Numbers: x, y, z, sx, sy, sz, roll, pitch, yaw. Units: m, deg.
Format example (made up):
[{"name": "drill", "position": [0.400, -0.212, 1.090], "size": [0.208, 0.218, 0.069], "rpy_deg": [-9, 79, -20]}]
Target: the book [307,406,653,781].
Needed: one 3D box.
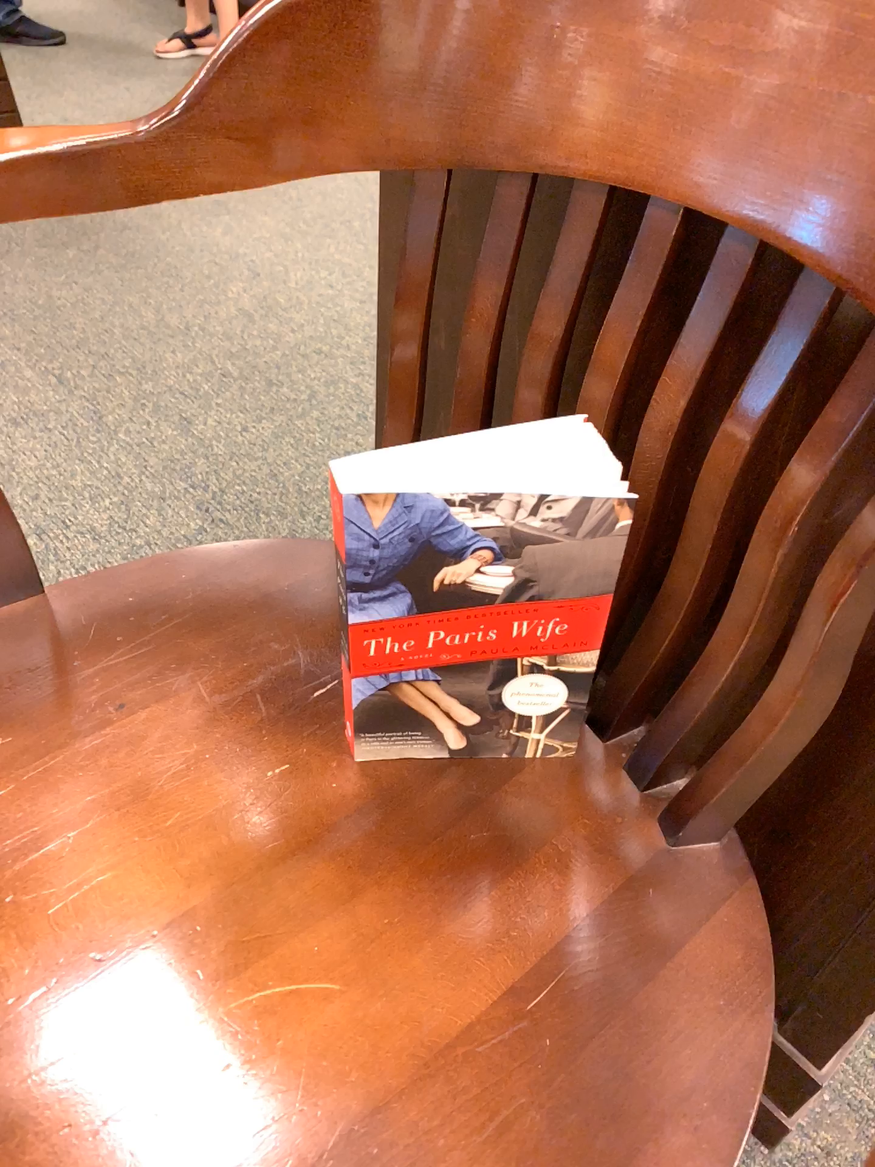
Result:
[{"name": "book", "position": [0.011, 0.012, 0.481], "size": [0.150, 0.199, 0.072], "rpy_deg": [-4, 44, -9]}]
